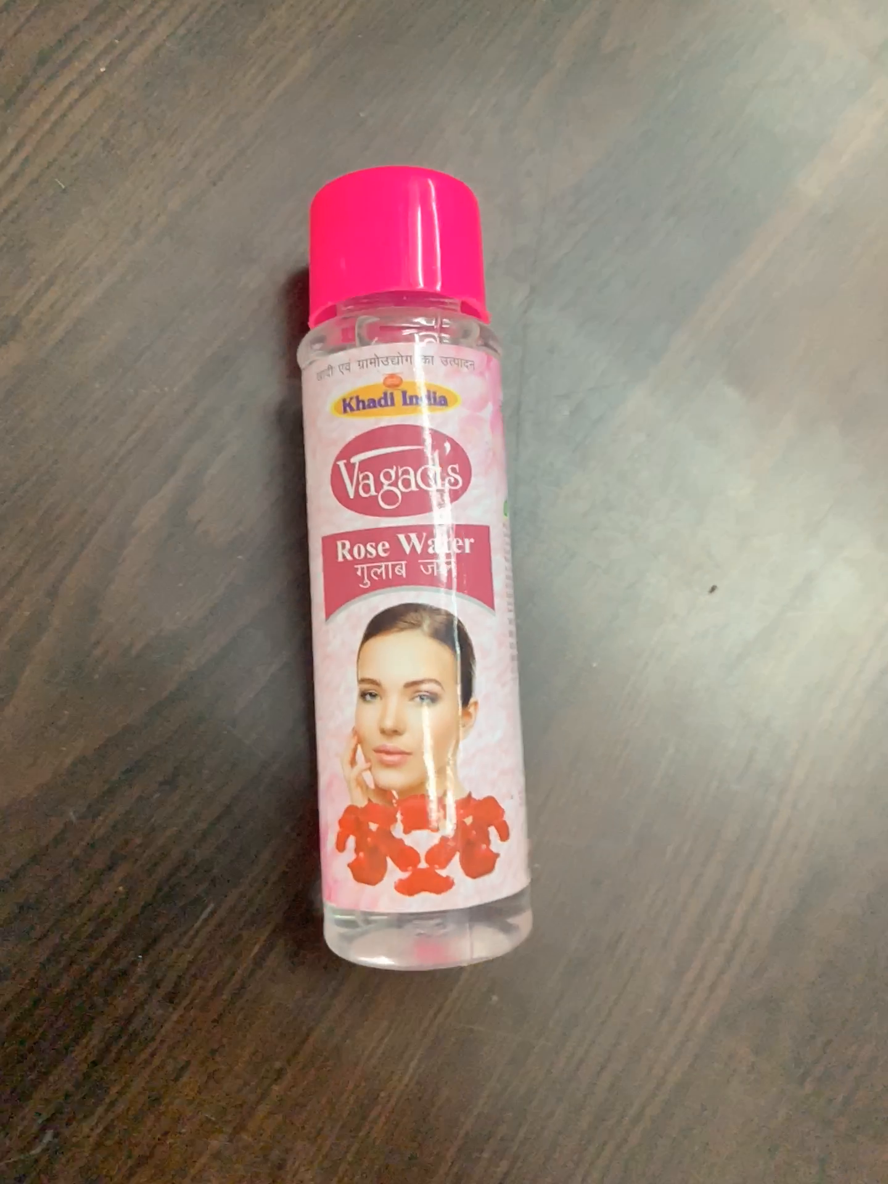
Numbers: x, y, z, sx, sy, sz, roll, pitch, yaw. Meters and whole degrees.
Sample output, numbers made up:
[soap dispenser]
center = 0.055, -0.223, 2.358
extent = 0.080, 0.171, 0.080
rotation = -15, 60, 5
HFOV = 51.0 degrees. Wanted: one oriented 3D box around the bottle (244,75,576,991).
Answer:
[bottle]
center = -0.008, -0.010, 0.166
extent = 0.050, 0.040, 0.140
rotation = -1, 88, -9
